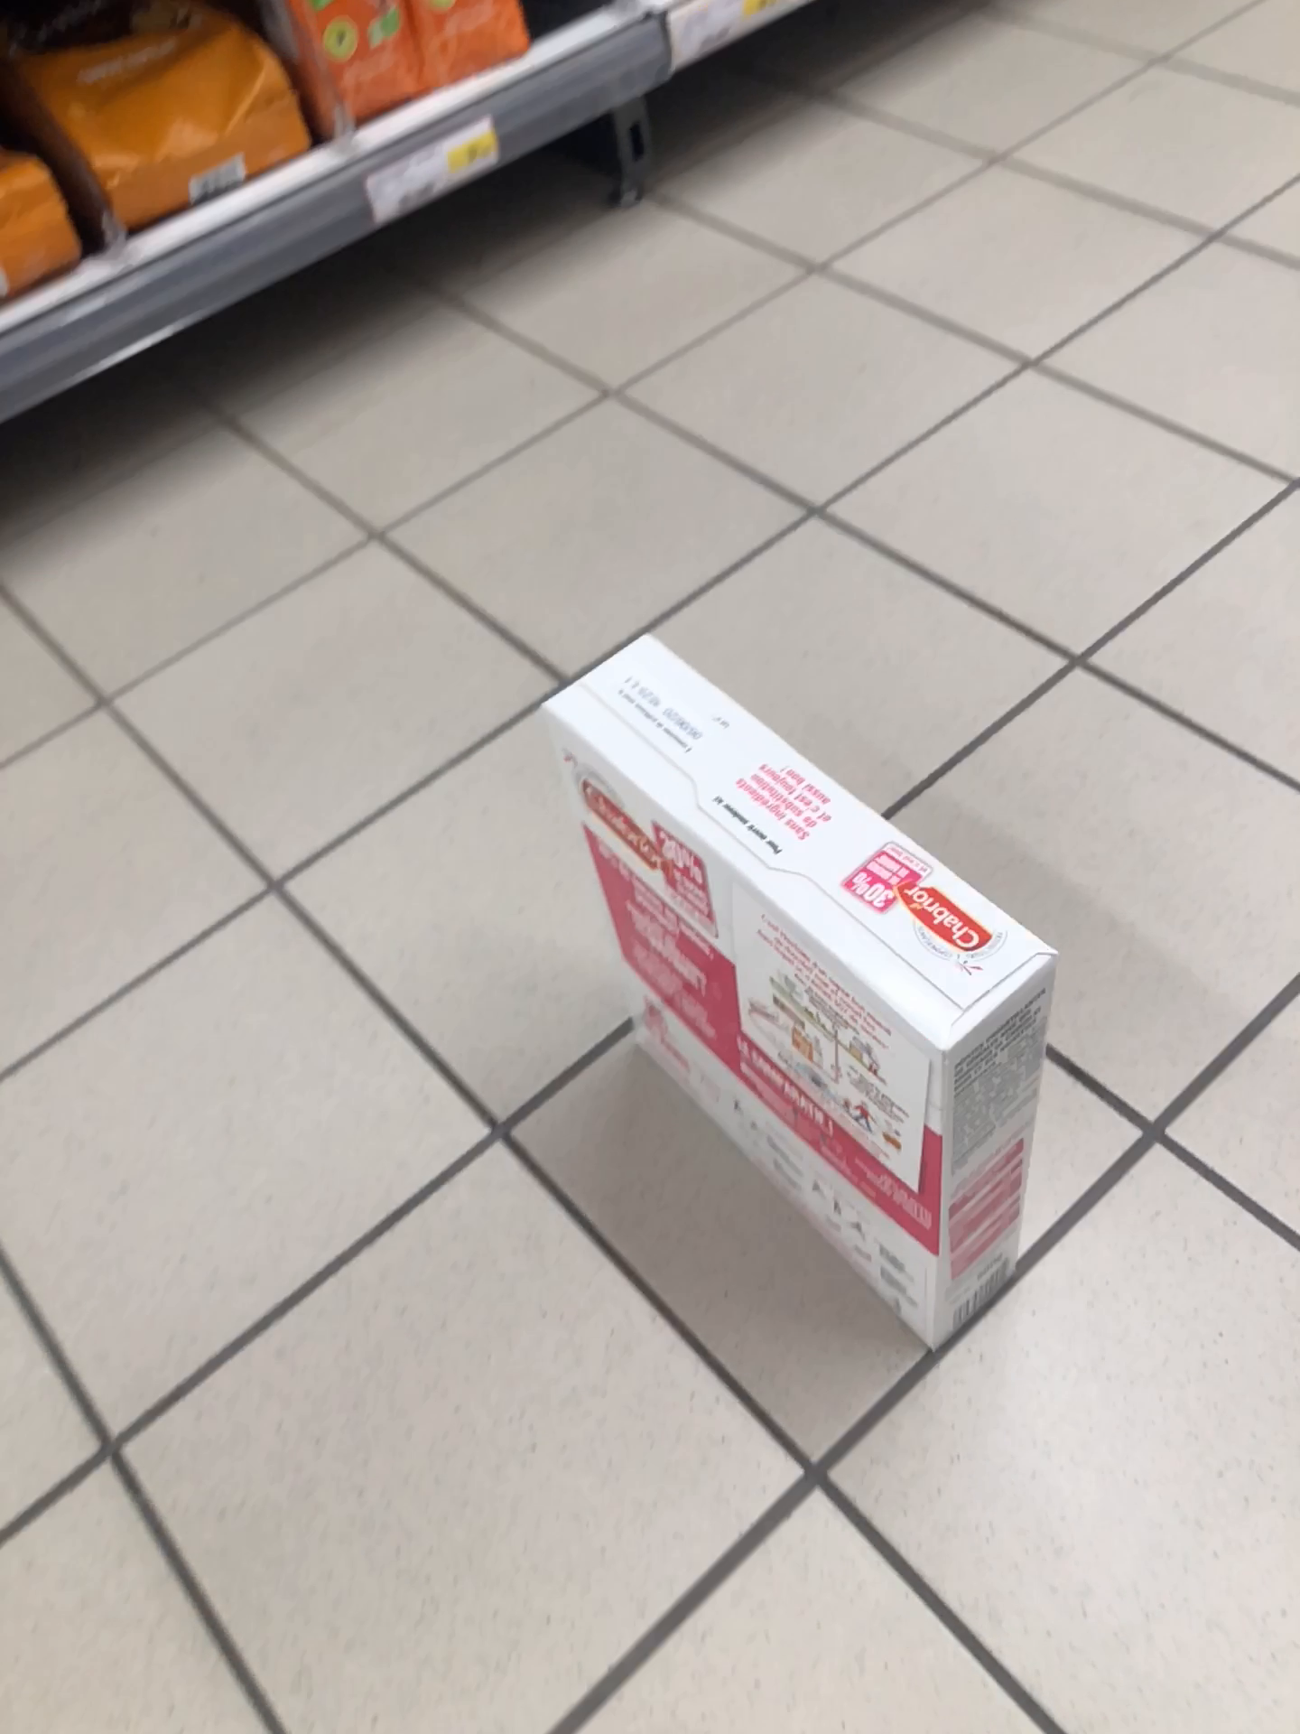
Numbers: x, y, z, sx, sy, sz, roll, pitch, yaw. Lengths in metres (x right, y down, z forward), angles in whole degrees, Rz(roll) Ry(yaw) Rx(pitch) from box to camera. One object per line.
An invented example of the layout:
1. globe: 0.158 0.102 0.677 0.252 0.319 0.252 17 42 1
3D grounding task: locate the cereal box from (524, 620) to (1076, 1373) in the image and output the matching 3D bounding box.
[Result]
1. cereal box: 0.054 0.056 0.539 0.050 0.239 0.200 -35 54 -17
